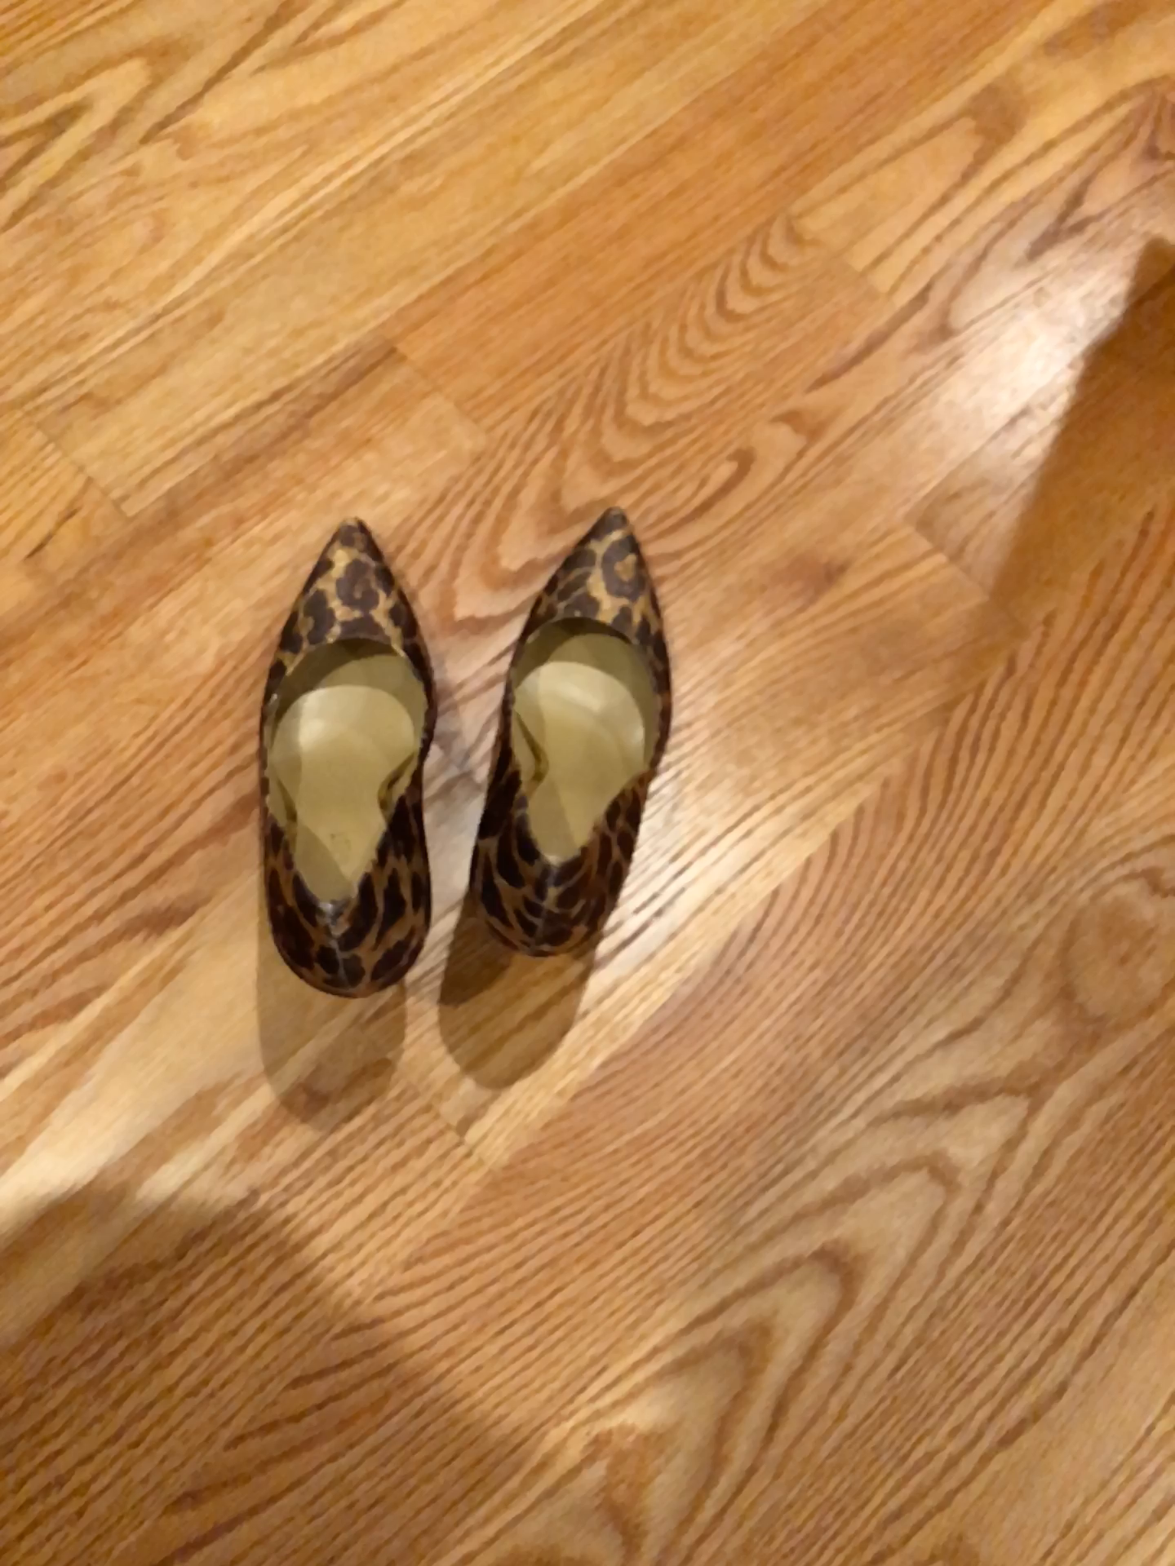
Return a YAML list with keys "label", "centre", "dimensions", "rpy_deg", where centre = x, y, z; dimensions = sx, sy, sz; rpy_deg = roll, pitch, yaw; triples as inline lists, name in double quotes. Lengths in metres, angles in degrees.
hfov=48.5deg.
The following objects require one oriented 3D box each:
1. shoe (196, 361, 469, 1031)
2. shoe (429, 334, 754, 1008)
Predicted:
- label: "shoe"
  centre: [-0.095, -0.026, 0.508]
  dimensions: [0.083, 0.144, 0.219]
  rpy_deg: [-3, 71, -6]
- label: "shoe"
  centre: [0.000, -0.036, 0.521]
  dimensions: [0.083, 0.144, 0.219]
  rpy_deg: [9, 71, -2]
